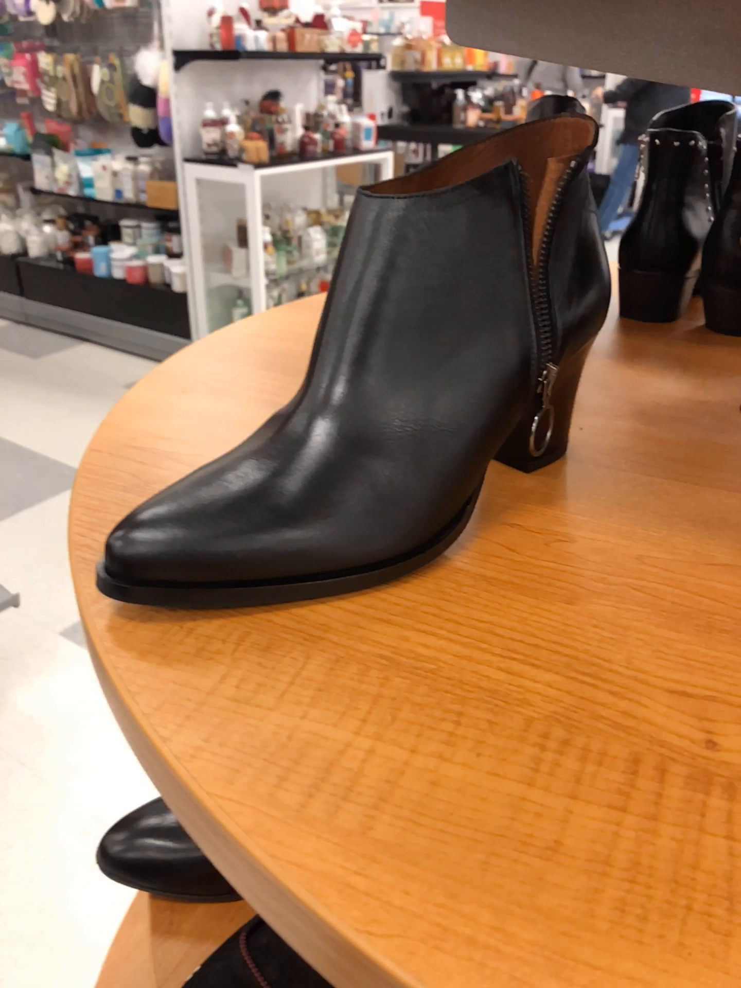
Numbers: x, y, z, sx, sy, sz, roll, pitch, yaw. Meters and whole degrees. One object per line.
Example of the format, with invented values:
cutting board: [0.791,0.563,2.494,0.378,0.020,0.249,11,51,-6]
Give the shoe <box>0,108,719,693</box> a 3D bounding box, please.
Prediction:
shoe: [0.009,-0.062,0.331,0.258,0.156,0.101,-21,34,-33]
